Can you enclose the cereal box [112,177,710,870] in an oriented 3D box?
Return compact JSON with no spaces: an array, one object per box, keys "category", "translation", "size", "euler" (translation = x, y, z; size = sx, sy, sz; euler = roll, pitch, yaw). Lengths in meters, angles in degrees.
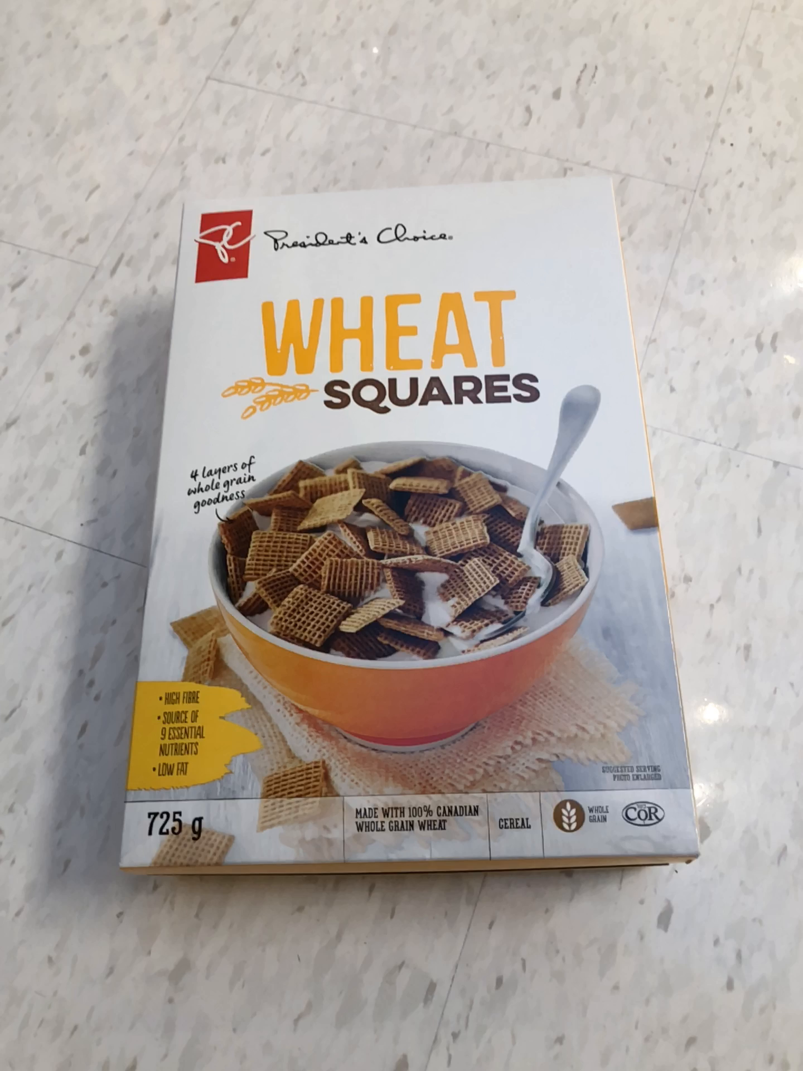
[{"category":"cereal box","translation":[0.002,-0.011,0.389],"size":[0.200,0.080,0.291],"euler":[-2,67,3]}]
